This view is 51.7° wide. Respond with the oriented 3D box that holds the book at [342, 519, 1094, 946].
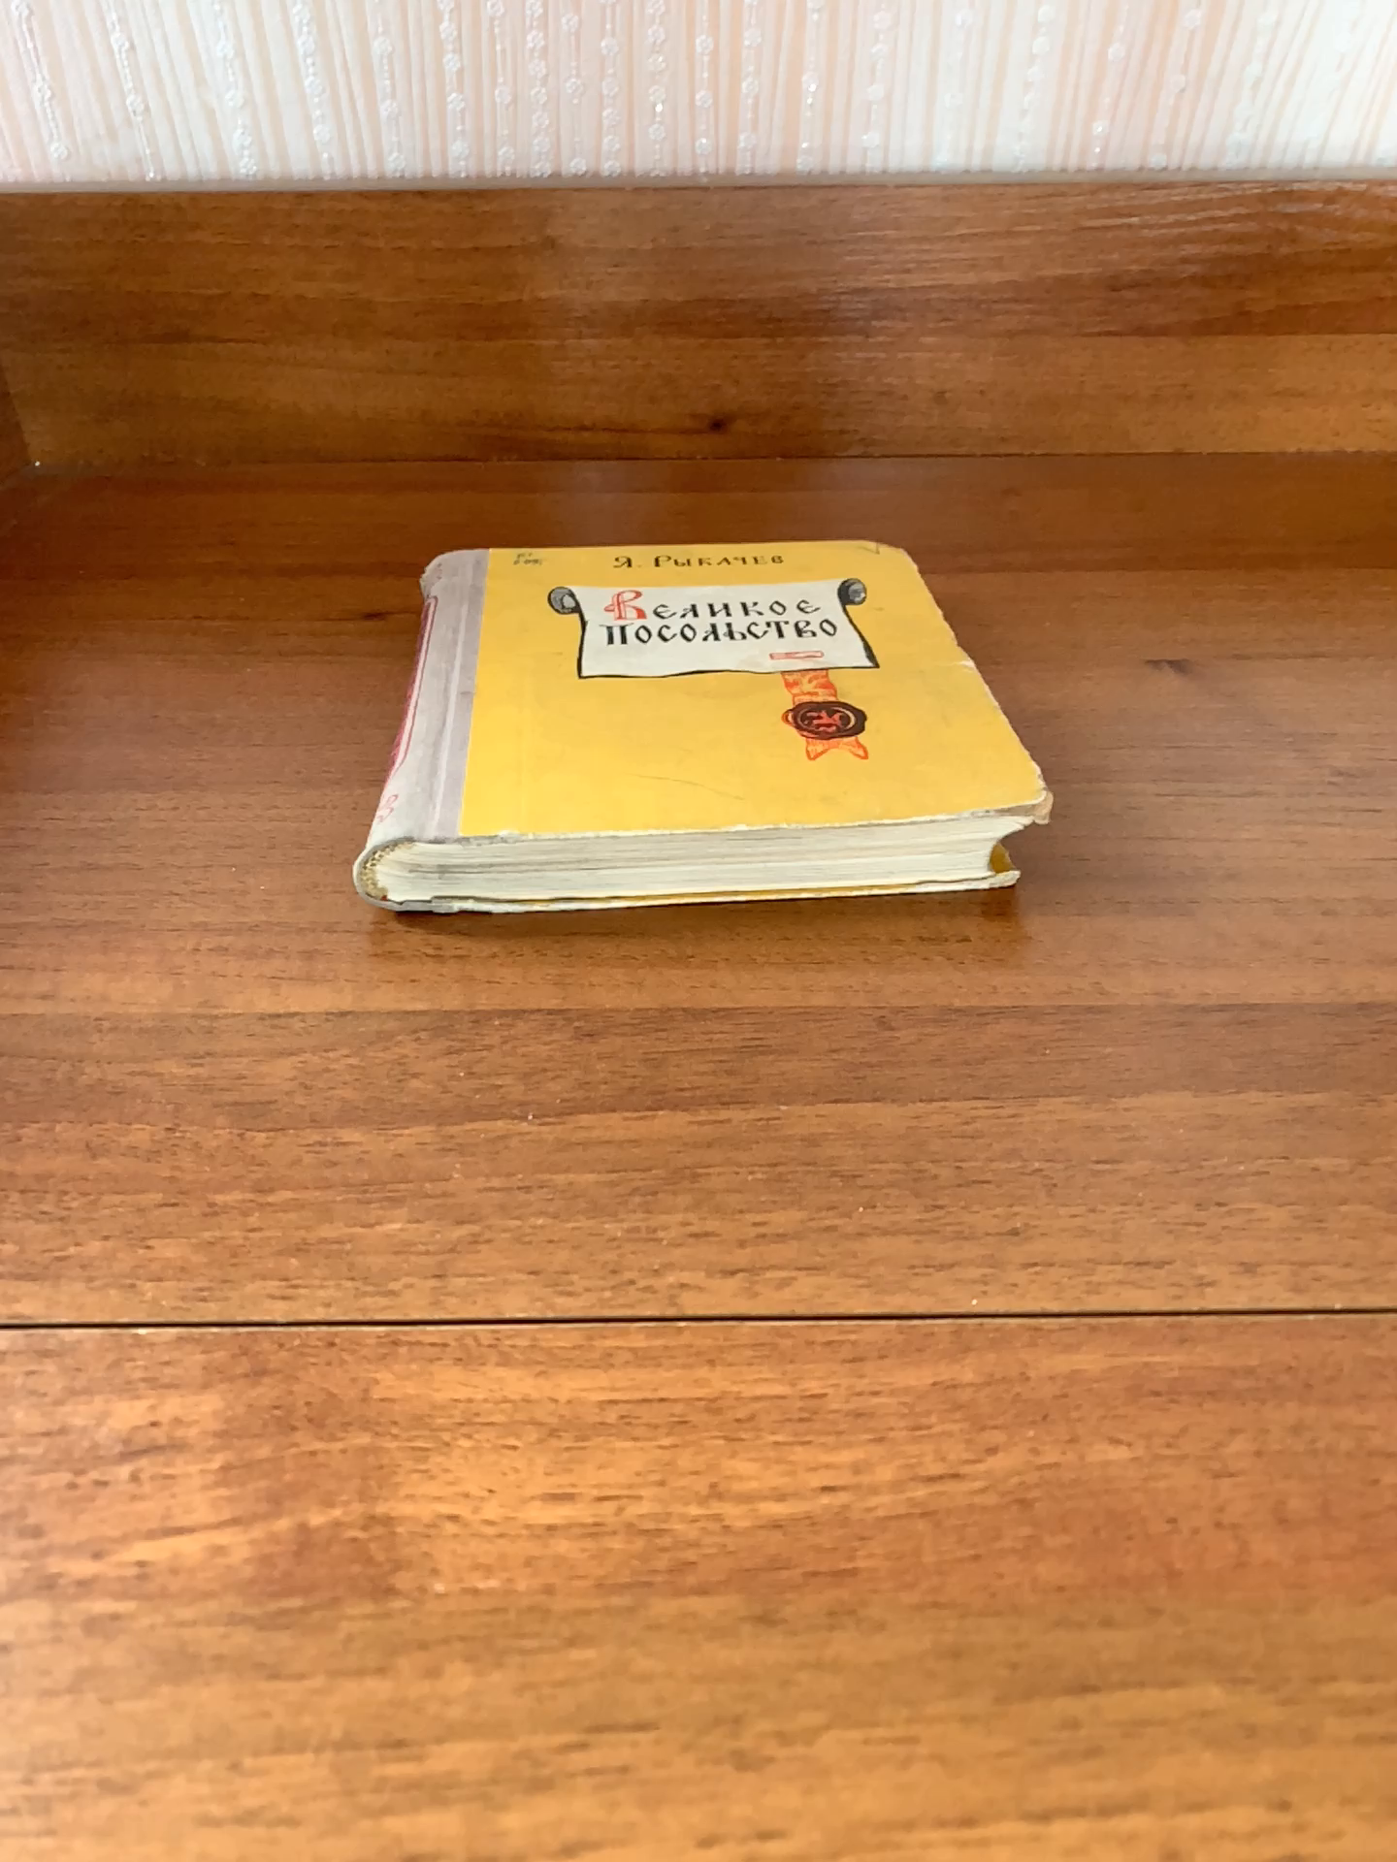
[{"bbox_3d":[-0.001,-0.058,0.347,0.142,0.023,0.172,-2,35,-4],"label":"book"}]
